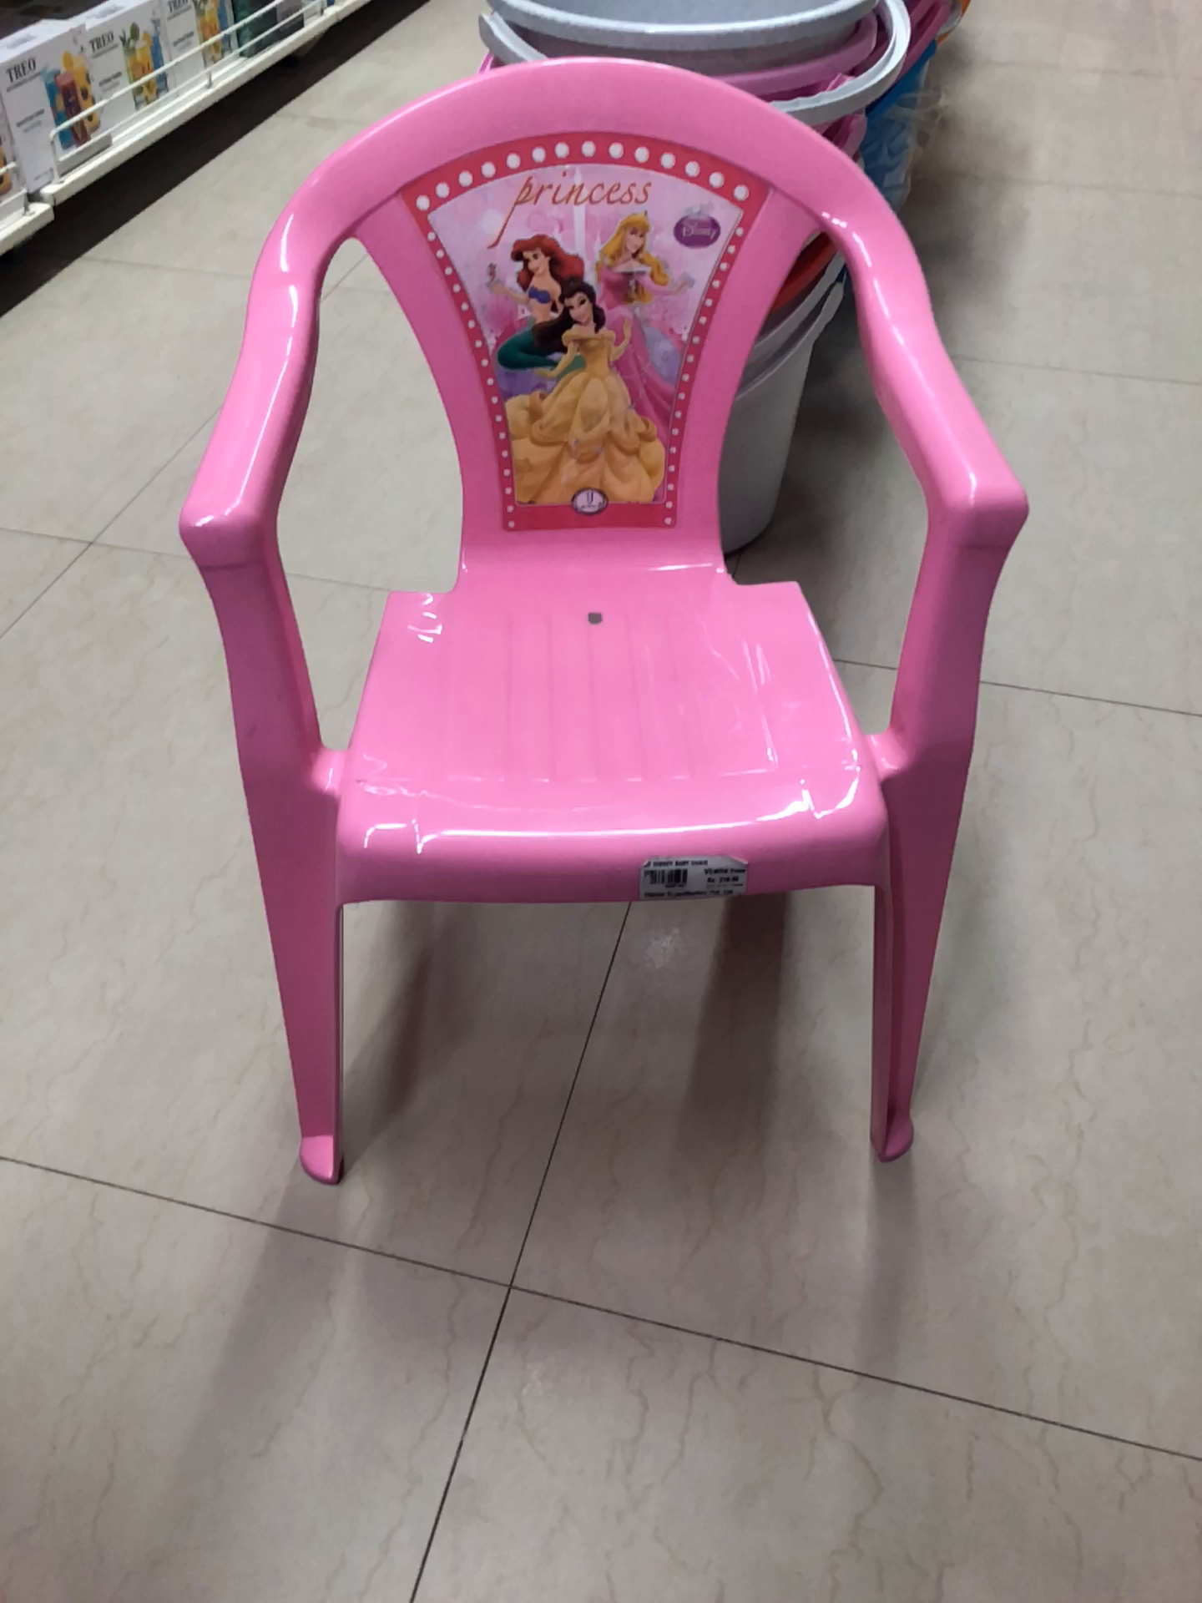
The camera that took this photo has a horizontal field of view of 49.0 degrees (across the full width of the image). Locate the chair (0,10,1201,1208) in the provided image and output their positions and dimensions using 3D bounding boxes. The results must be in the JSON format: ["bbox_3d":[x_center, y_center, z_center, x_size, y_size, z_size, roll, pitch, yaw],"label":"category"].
[{"bbox_3d":[-0.003,-0.083,0.670,0.370,0.477,0.352,-2,44,-2],"label":"chair"}]
